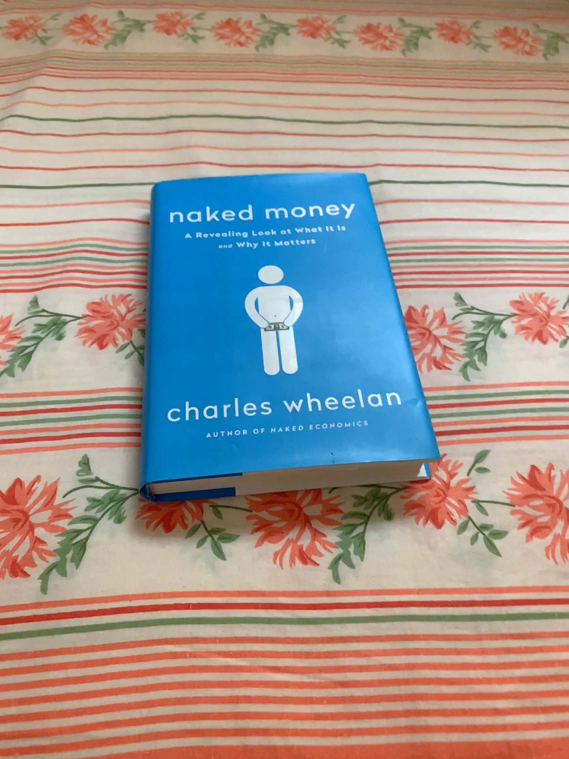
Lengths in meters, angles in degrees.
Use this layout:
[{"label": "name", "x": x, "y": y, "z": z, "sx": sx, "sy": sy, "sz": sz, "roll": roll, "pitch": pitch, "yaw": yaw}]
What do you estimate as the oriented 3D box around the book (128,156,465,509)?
[{"label": "book", "x": -0.005, "y": -0.049, "z": 0.381, "sx": 0.170, "sy": 0.040, "sz": 0.252, "roll": -3, "pitch": 56, "yaw": -6}]
